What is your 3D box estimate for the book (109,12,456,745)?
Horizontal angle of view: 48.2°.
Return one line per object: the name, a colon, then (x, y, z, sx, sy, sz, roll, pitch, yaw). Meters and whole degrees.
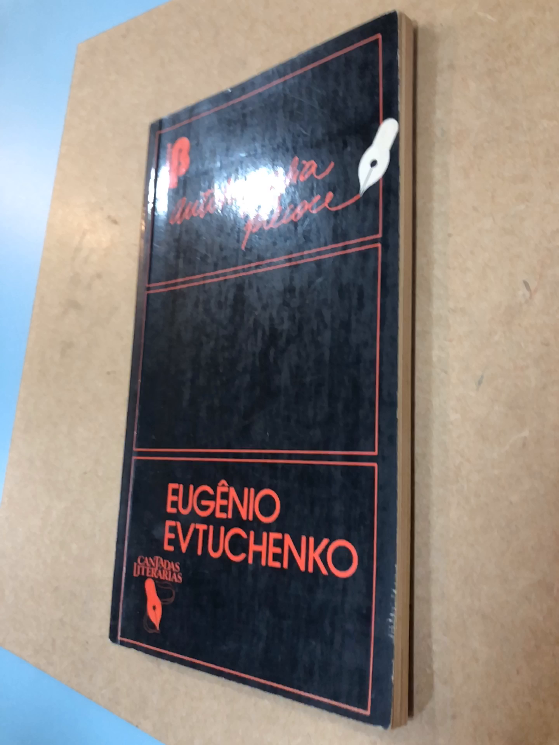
book: (-0.003, 0.000, 0.197, 0.114, 0.016, 0.190, -4, 78, 38)
